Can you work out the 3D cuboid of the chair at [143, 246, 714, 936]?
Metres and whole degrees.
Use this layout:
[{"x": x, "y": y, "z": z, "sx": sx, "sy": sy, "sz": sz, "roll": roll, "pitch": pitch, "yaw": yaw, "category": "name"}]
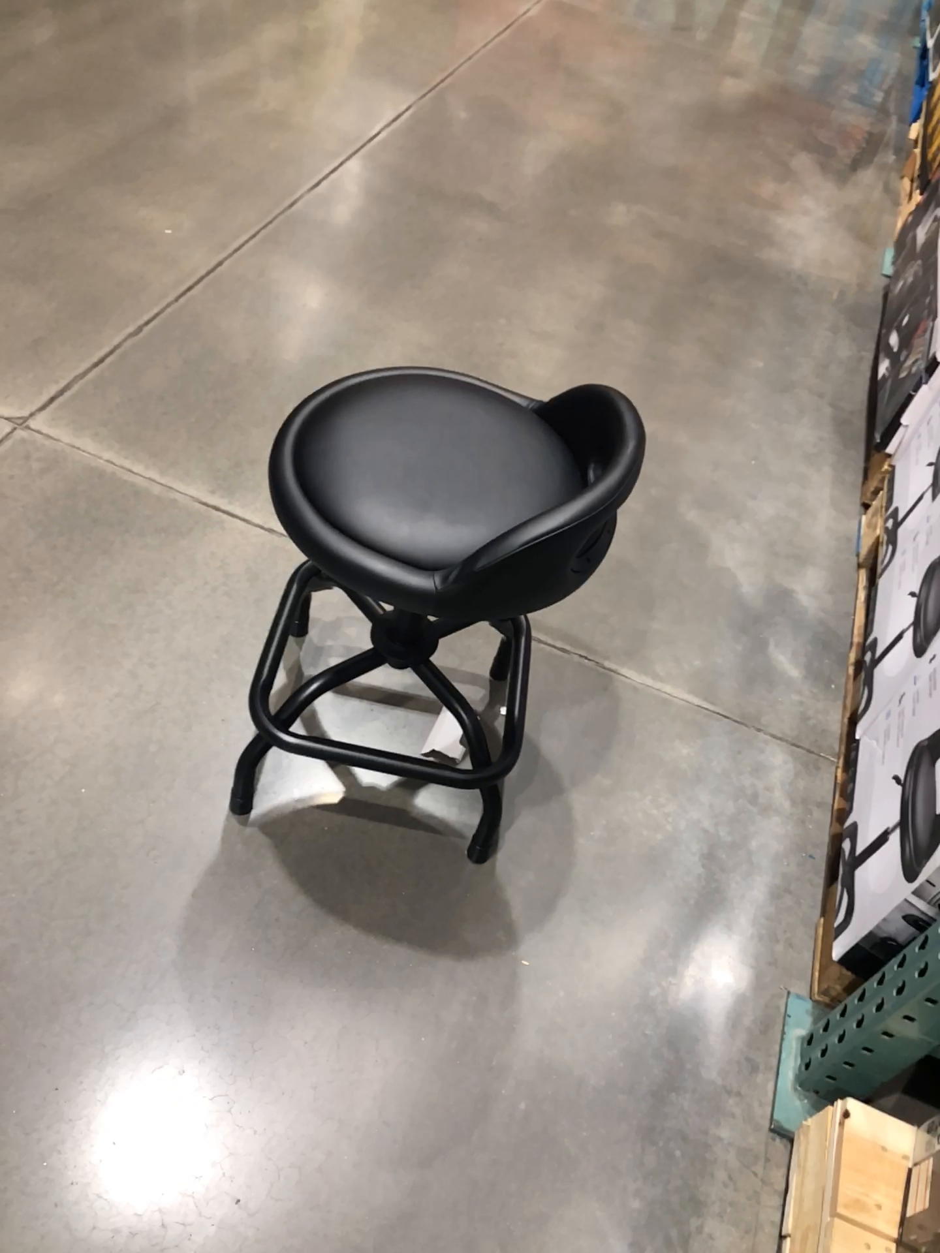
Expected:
[{"x": -0.072, "y": -0.045, "z": 1.423, "sx": 0.501, "sy": 0.628, "sz": 0.521, "roll": 25, "pitch": 46, "yaw": 8, "category": "chair"}]
